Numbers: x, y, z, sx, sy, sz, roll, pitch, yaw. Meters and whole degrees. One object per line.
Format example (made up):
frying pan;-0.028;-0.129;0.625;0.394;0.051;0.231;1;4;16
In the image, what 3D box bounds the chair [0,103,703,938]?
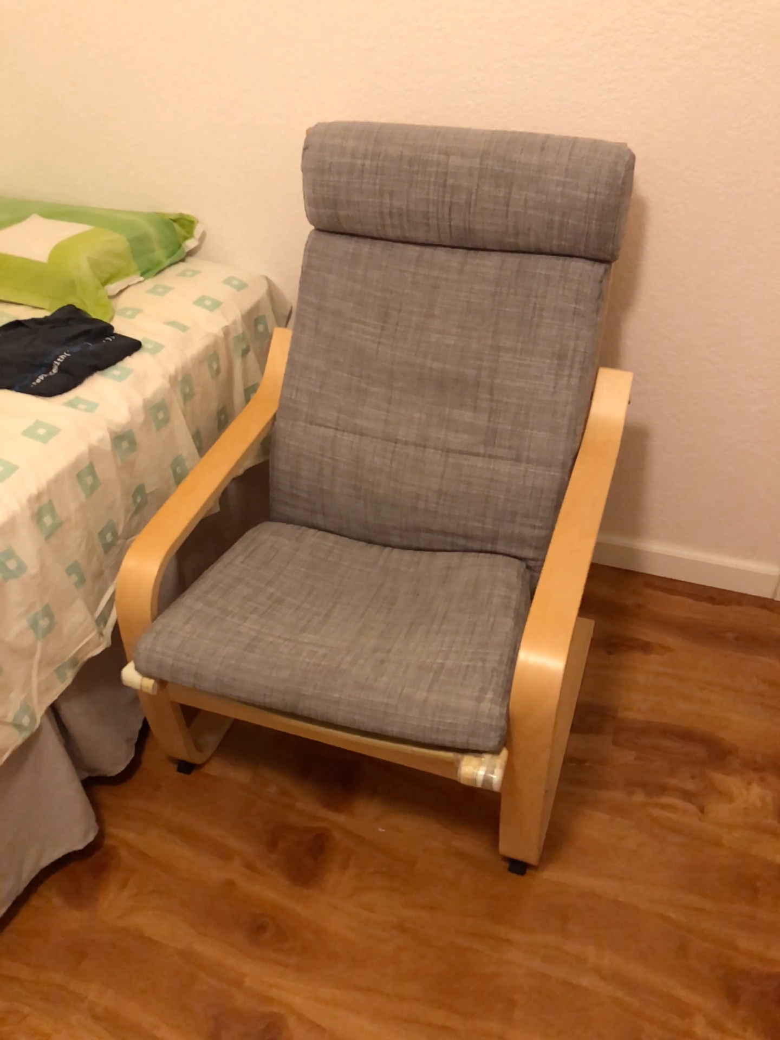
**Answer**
chair;0.014;-0.063;1.328;0.681;0.885;0.804;12;40;17
